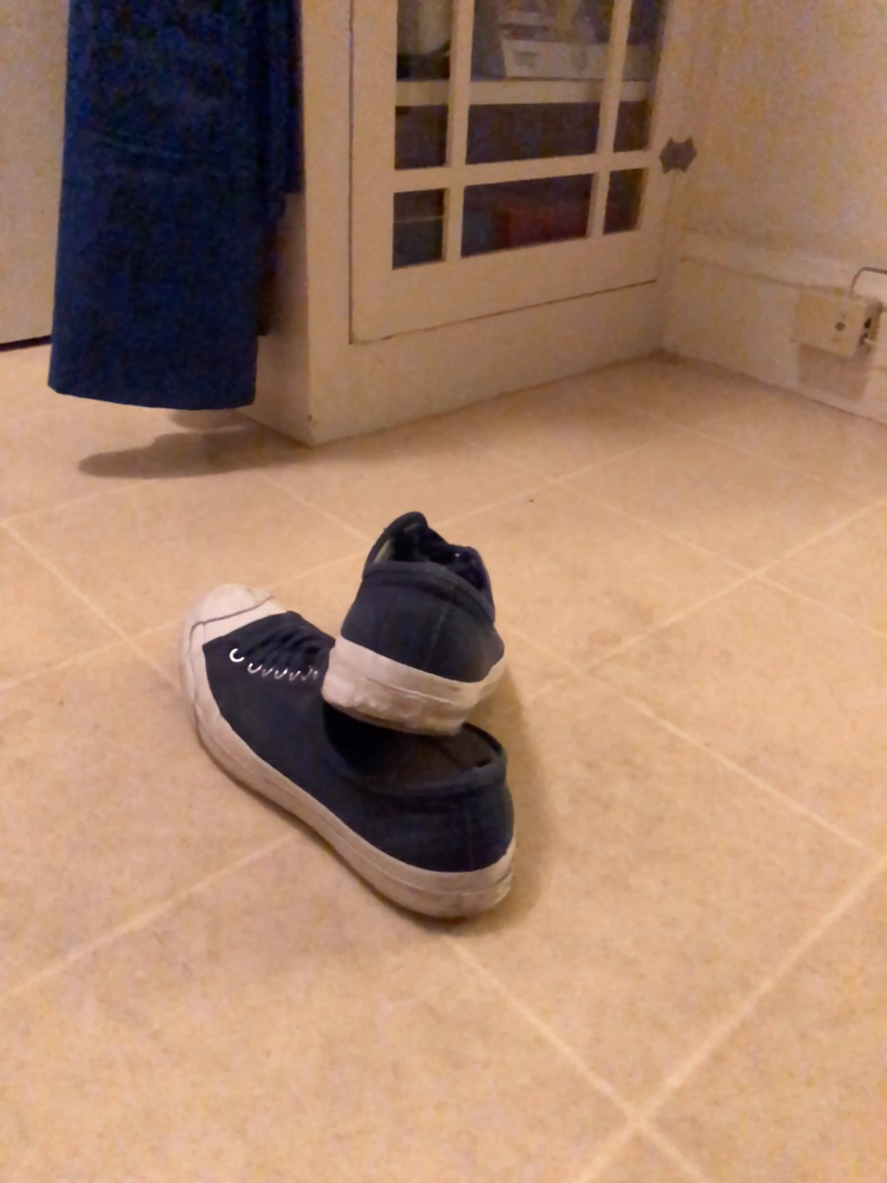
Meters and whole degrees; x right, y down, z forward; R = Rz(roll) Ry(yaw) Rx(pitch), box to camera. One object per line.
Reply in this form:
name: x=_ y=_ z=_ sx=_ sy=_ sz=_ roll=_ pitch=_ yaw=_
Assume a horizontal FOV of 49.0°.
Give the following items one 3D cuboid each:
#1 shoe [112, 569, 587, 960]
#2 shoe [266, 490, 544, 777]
shoe: x=-0.069 y=0.077 z=0.566 sx=0.110 sy=0.080 sz=0.291 roll=-19 pitch=30 yaw=-40
shoe: x=-0.013 y=0.006 z=0.603 sx=0.100 sy=0.100 sz=0.290 roll=23 pitch=7 yaw=-1
